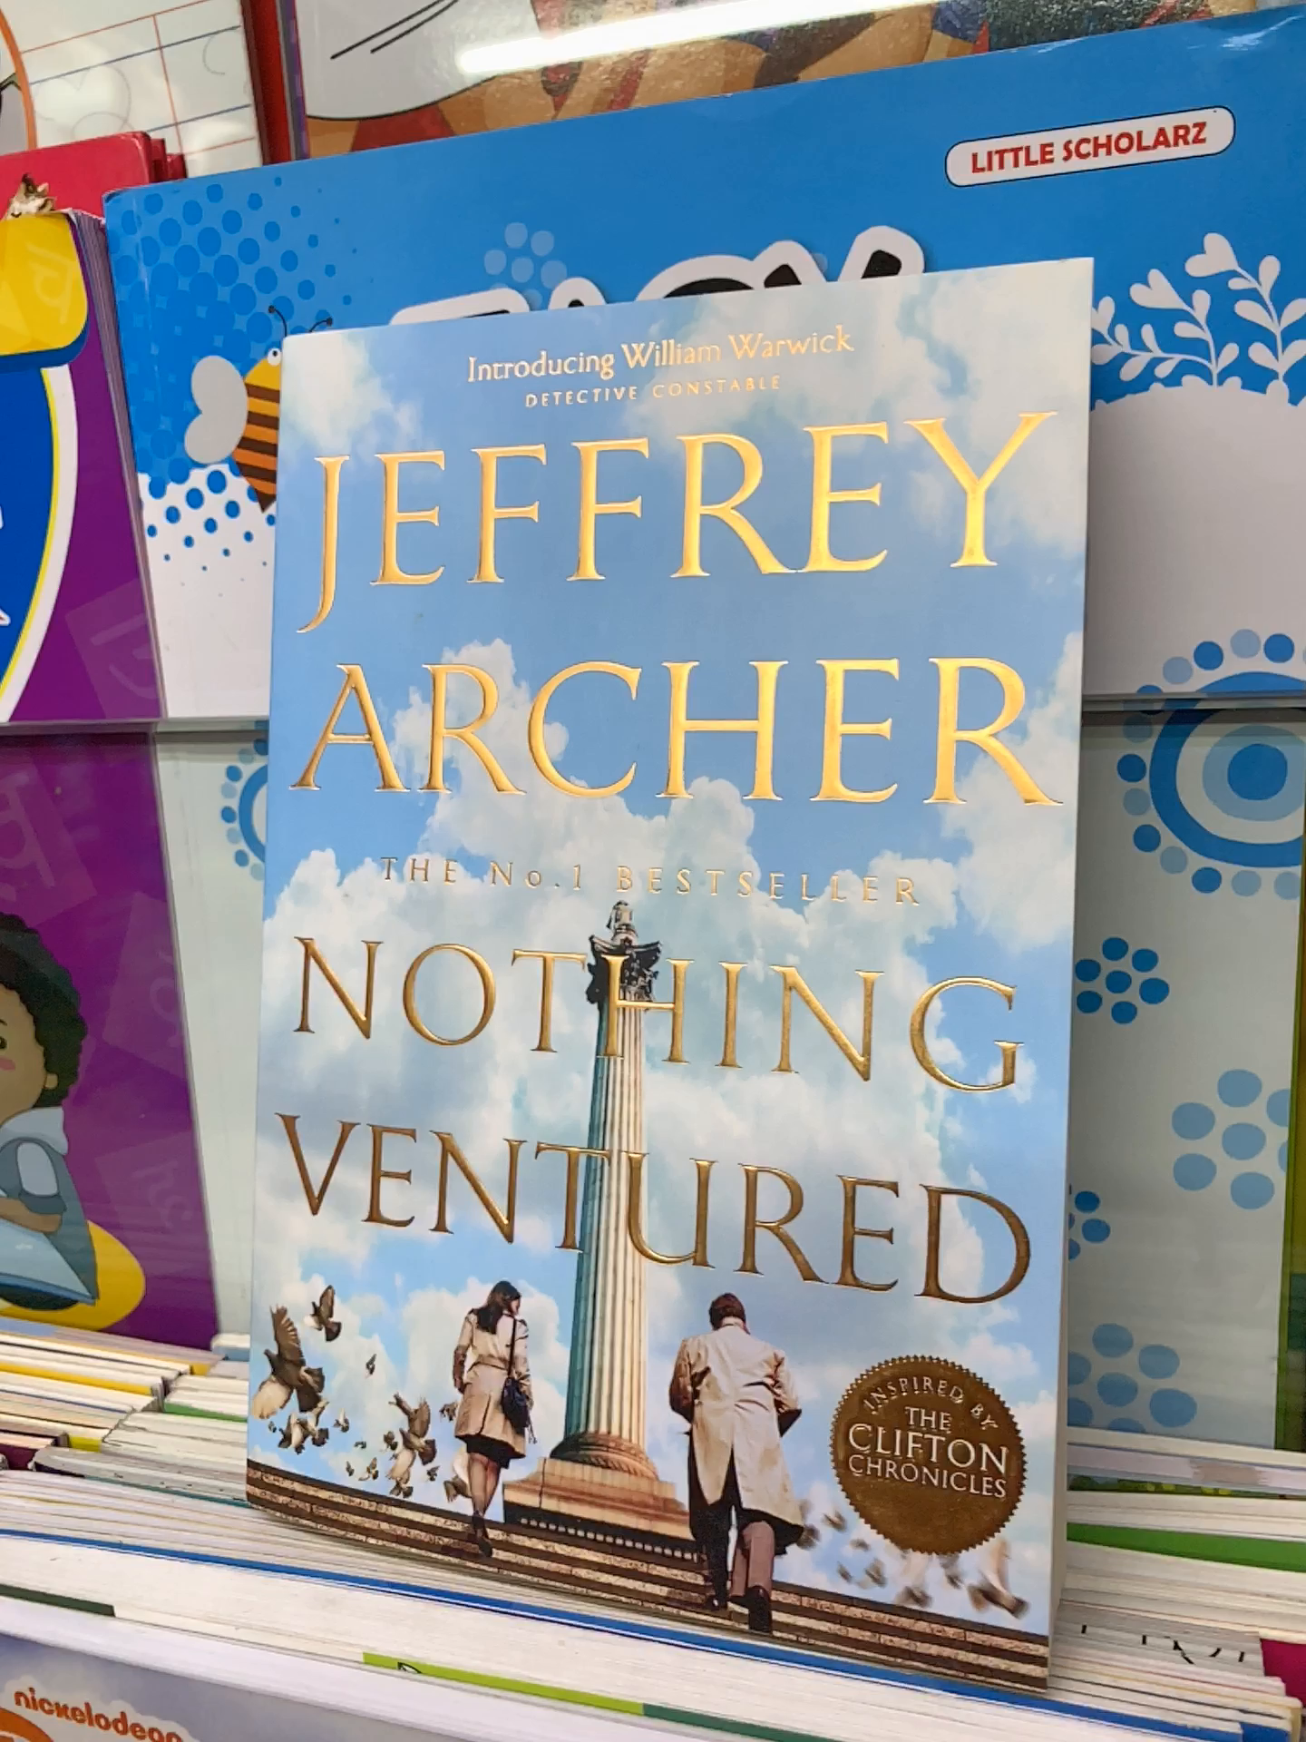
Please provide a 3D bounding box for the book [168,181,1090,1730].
[{"bbox_3d":[-0.006,0.008,0.205,0.130,0.190,0.030,1,-1,20],"label":"book"}]
